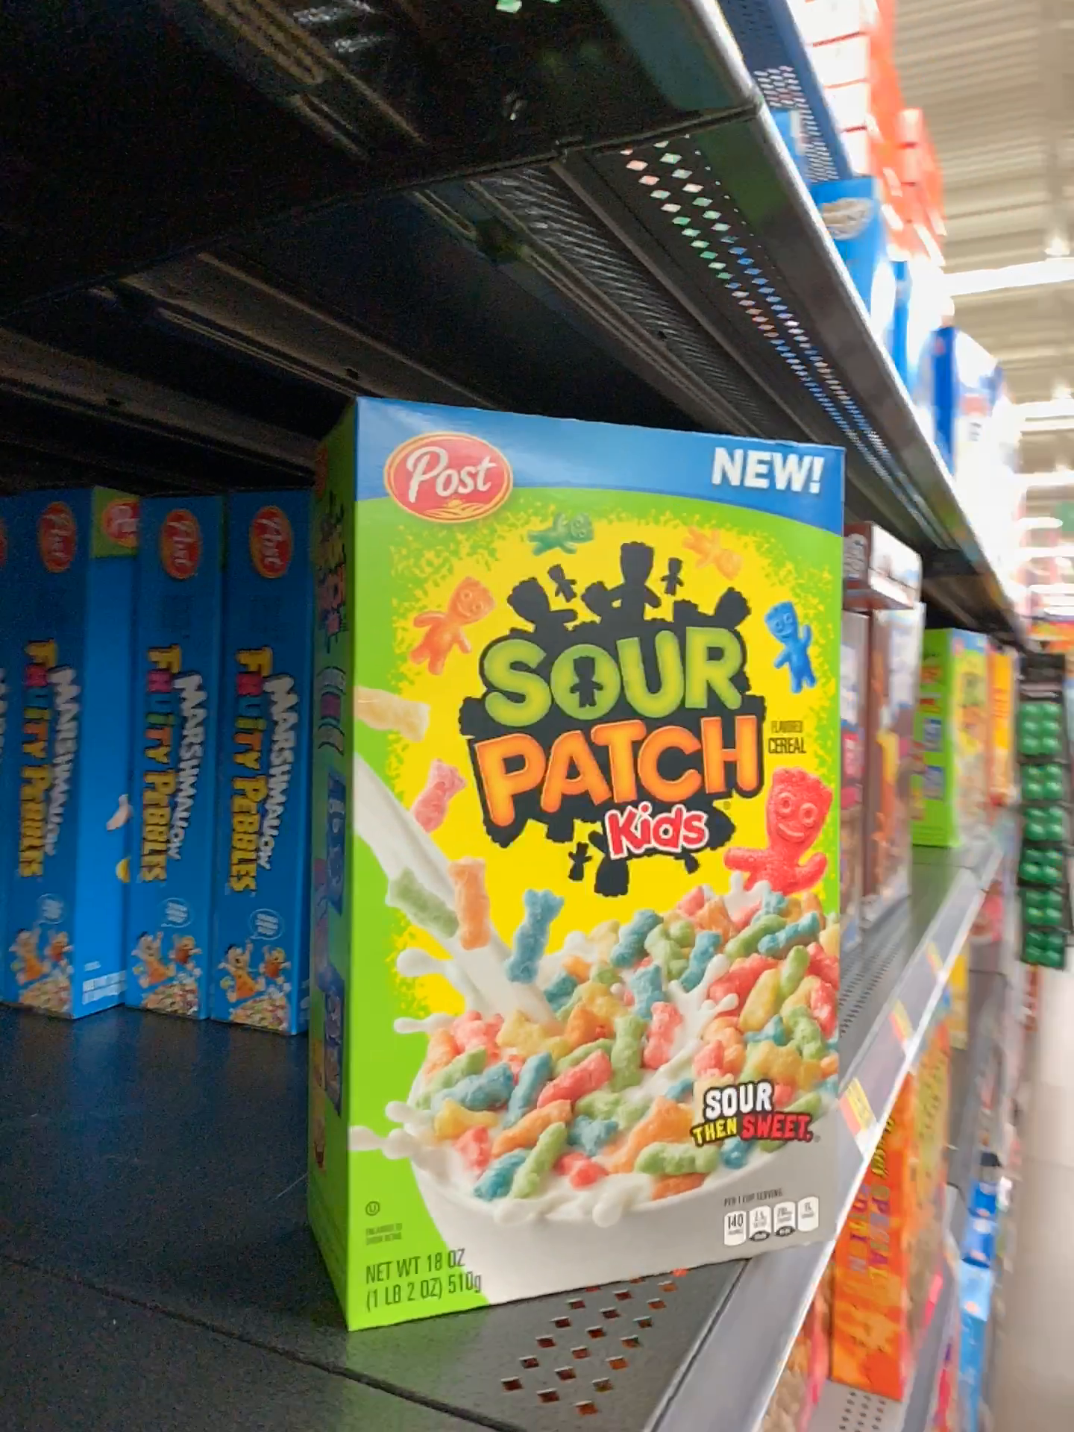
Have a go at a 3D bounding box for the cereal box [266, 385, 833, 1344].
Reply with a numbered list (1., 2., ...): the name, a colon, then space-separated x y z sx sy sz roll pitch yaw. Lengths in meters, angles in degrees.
1. cereal box: 0.004 0.048 0.430 0.200 0.310 0.080 1 0 -21
